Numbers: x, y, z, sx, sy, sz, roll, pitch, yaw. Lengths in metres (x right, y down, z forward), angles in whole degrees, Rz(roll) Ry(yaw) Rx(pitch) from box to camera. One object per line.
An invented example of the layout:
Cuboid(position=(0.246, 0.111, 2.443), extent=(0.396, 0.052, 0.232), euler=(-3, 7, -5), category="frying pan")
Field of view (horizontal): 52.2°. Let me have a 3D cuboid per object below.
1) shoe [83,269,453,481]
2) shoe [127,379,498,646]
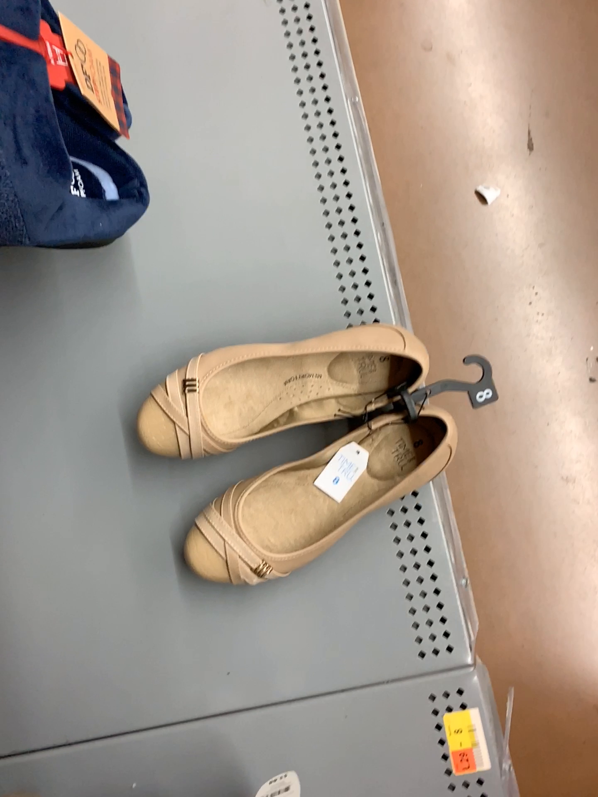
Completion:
Cuboid(position=(-0.025, -0.014, 0.537), extent=(0.280, 0.100, 0.100), euler=(-15, 83, 0), category="shoe")
Cuboid(position=(0.011, 0.094, 0.537), extent=(0.280, 0.100, 0.100), euler=(-25, 84, -1), category="shoe")
